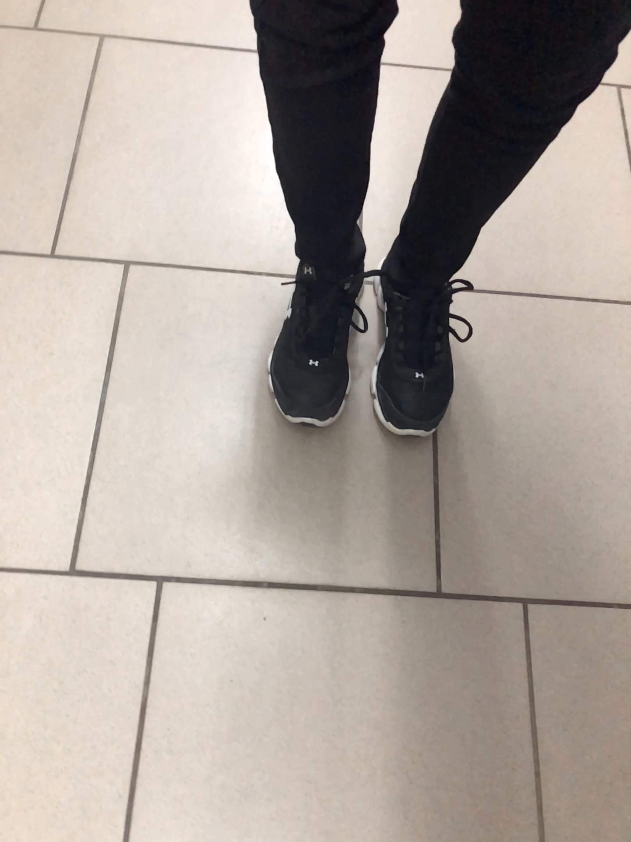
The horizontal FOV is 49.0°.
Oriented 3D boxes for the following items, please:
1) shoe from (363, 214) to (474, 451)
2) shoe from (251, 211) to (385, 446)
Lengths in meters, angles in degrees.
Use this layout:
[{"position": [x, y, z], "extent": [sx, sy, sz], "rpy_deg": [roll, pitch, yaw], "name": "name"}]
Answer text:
[{"position": [0.124, -0.110, 0.848], "extent": [0.110, 0.090, 0.270], "rpy_deg": [5, 67, -2], "name": "shoe"}, {"position": [0.005, -0.115, 0.852], "extent": [0.110, 0.090, 0.260], "rpy_deg": [12, 67, 1], "name": "shoe"}]
